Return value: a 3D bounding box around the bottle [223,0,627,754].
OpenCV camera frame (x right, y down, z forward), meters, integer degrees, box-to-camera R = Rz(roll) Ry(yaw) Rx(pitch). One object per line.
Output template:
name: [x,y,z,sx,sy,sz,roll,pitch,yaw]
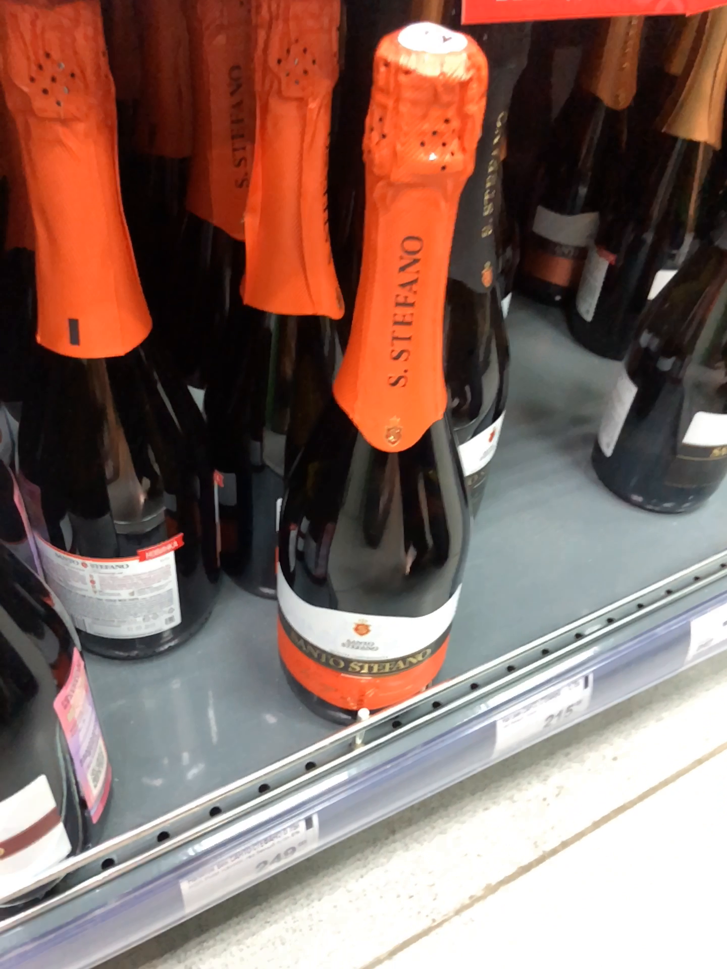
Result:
bottle: [0.009,-0.017,0.335,0.100,0.298,0.101,3,42,-3]
